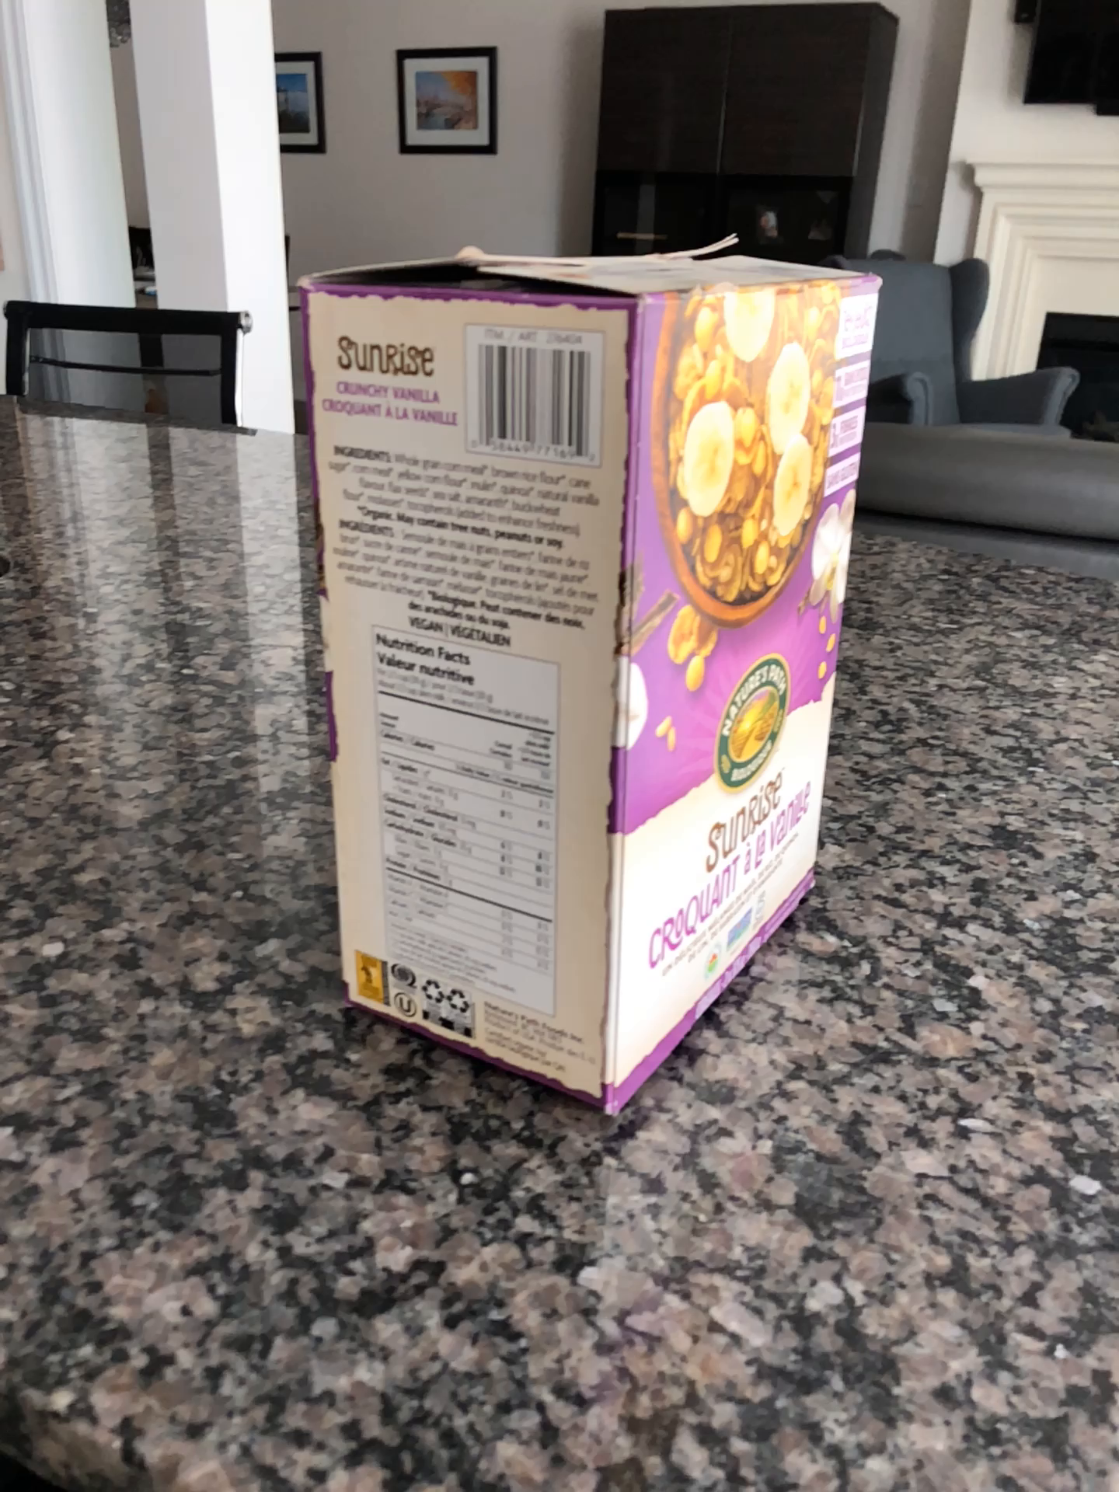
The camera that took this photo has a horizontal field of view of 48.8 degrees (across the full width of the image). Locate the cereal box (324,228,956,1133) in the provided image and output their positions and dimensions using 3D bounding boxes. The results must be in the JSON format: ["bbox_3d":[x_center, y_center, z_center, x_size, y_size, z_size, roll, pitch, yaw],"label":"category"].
[{"bbox_3d":[0.031,-0.040,0.397,0.110,0.229,0.181,15,27,27],"label":"cereal box"}]
